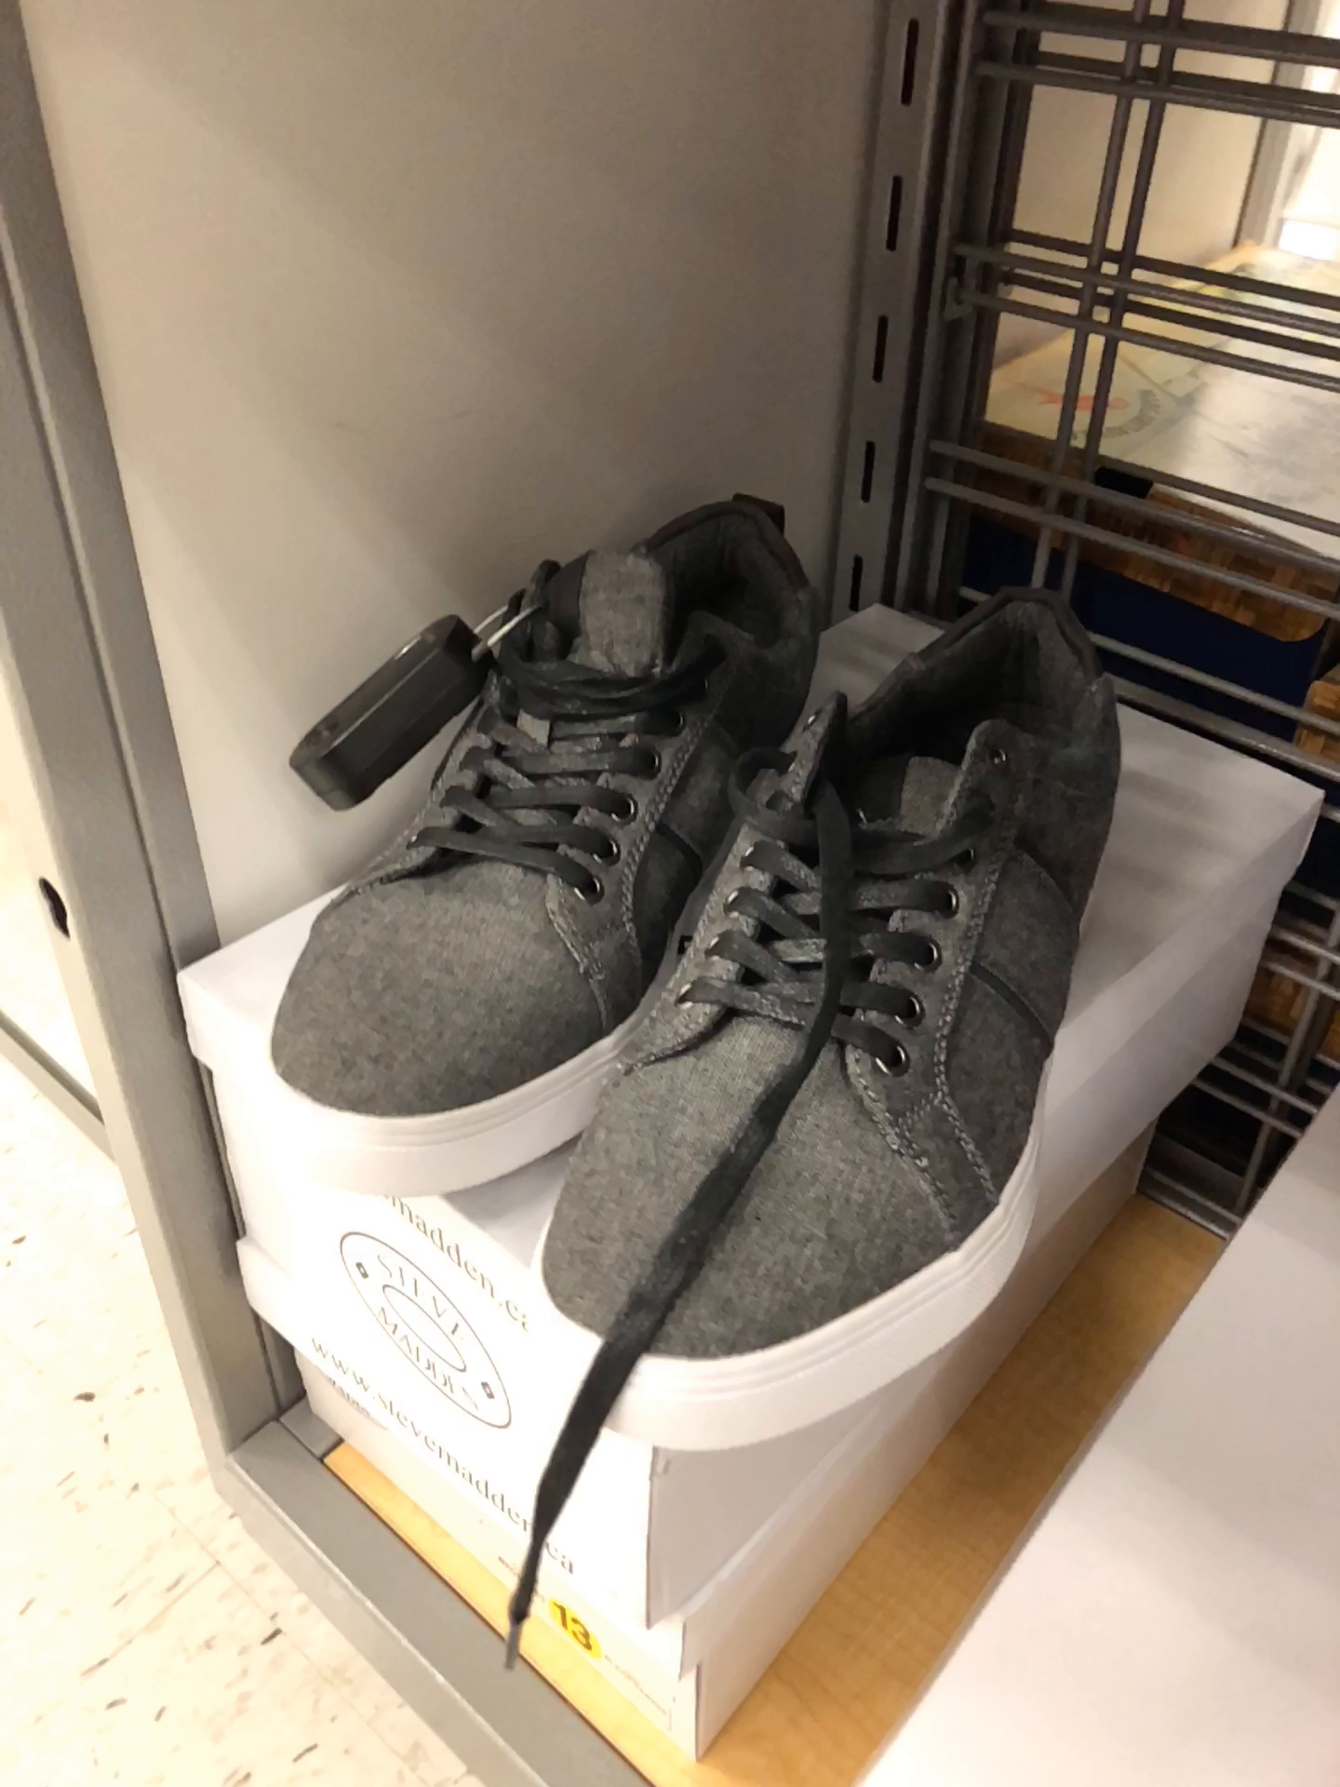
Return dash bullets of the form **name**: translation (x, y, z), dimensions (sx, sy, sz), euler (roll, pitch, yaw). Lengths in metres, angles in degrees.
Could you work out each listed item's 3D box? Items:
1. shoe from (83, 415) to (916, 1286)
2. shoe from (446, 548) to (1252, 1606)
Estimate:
- **shoe**: translation (-0.025, -0.035, 0.424), dimensions (0.110, 0.106, 0.255), euler (16, 40, 18)
- **shoe**: translation (0.061, 0.020, 0.377), dimensions (0.100, 0.106, 0.255), euler (18, 41, 21)
